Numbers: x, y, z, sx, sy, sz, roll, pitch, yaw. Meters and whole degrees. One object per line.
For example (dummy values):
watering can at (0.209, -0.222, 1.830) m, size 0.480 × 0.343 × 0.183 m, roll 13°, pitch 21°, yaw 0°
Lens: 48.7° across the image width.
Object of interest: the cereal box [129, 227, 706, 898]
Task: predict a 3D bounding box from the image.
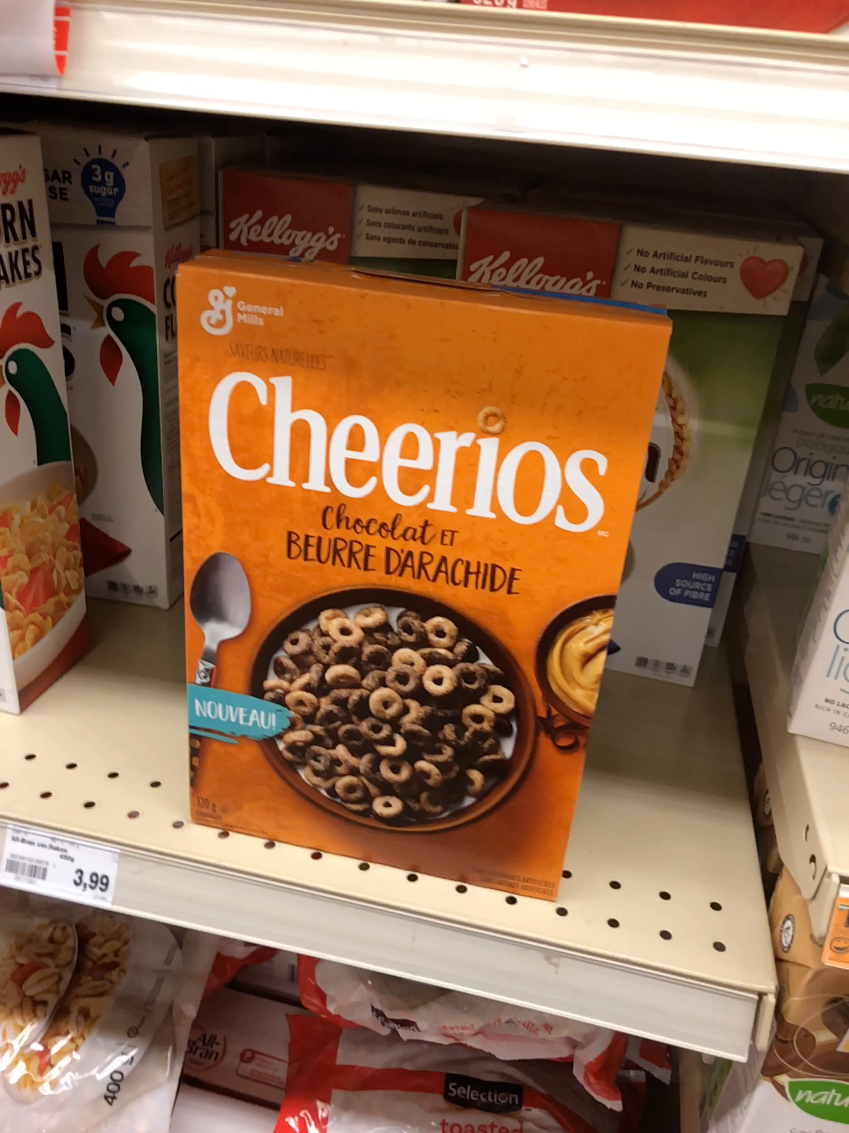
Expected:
cereal box at (-0.013, 0.006, 0.414) m, size 0.210 × 0.268 × 0.050 m, roll 10°, pitch 27°, yaw 9°
